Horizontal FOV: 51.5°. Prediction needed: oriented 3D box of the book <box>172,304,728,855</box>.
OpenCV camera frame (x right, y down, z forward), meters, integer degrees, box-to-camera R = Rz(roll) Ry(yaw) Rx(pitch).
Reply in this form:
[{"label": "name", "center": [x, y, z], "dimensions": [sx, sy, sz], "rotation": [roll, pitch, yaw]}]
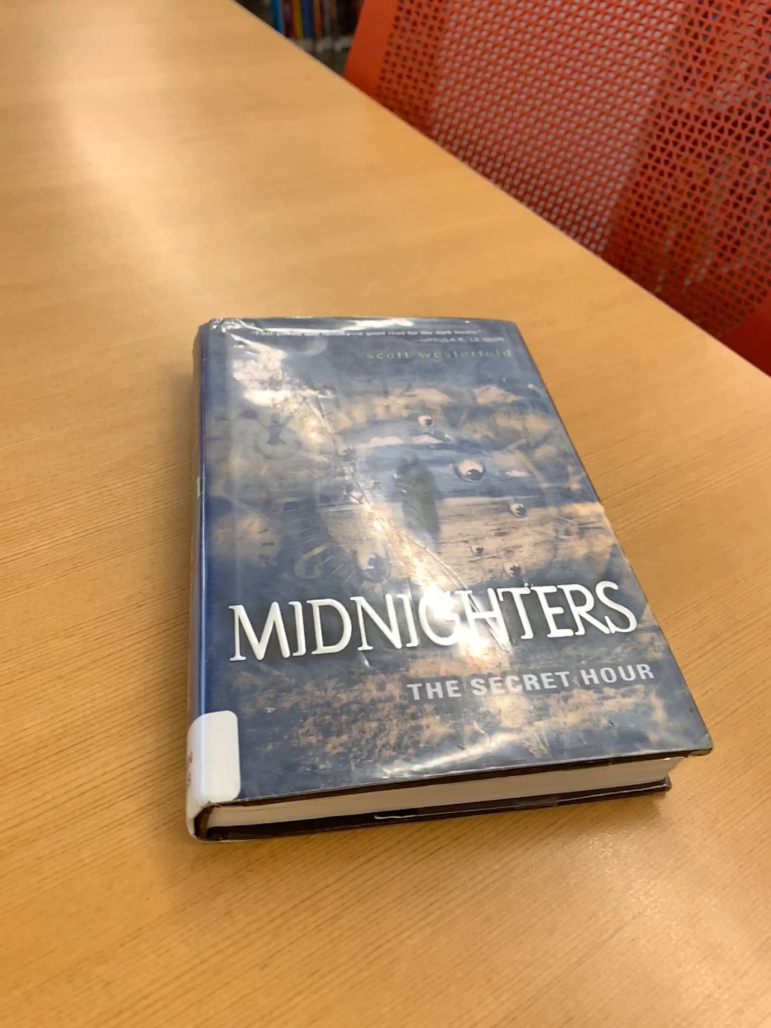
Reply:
[{"label": "book", "center": [0.003, 0.000, 0.295], "dimensions": [0.150, 0.040, 0.215], "rotation": [-2, 47, -11]}]
